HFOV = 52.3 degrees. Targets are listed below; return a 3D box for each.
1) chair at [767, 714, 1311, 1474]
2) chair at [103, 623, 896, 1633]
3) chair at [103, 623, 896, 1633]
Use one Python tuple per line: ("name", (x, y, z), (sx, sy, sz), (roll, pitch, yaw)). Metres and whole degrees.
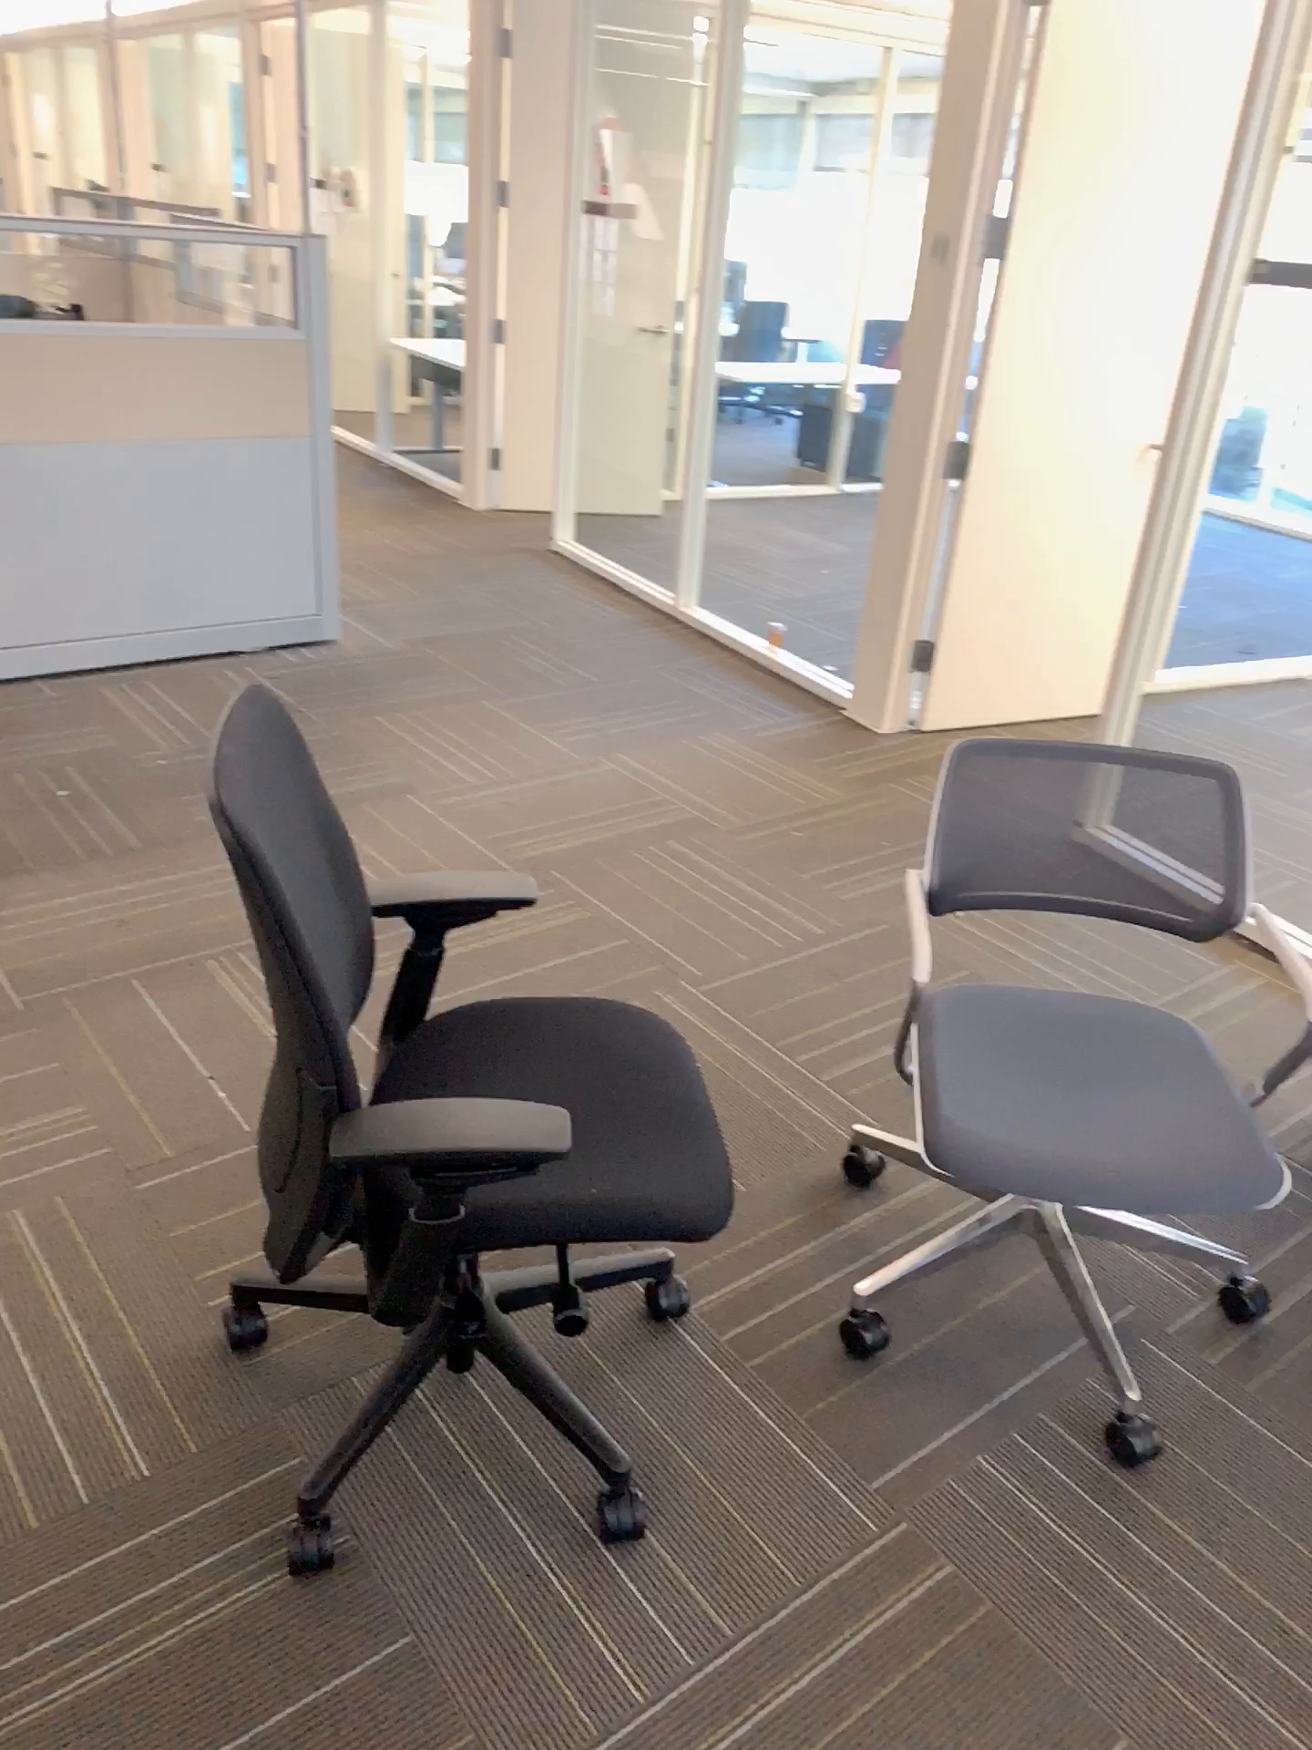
("chair", (0.607, 0.282, 1.981), (0.730, 0.776, 0.754), (4, 26, -3))
("chair", (-0.250, 0.239, 1.745), (0.710, 0.915, 0.824), (-2, 27, -15))
("chair", (-0.250, 0.239, 1.745), (0.710, 0.915, 0.824), (-2, 27, -15))
